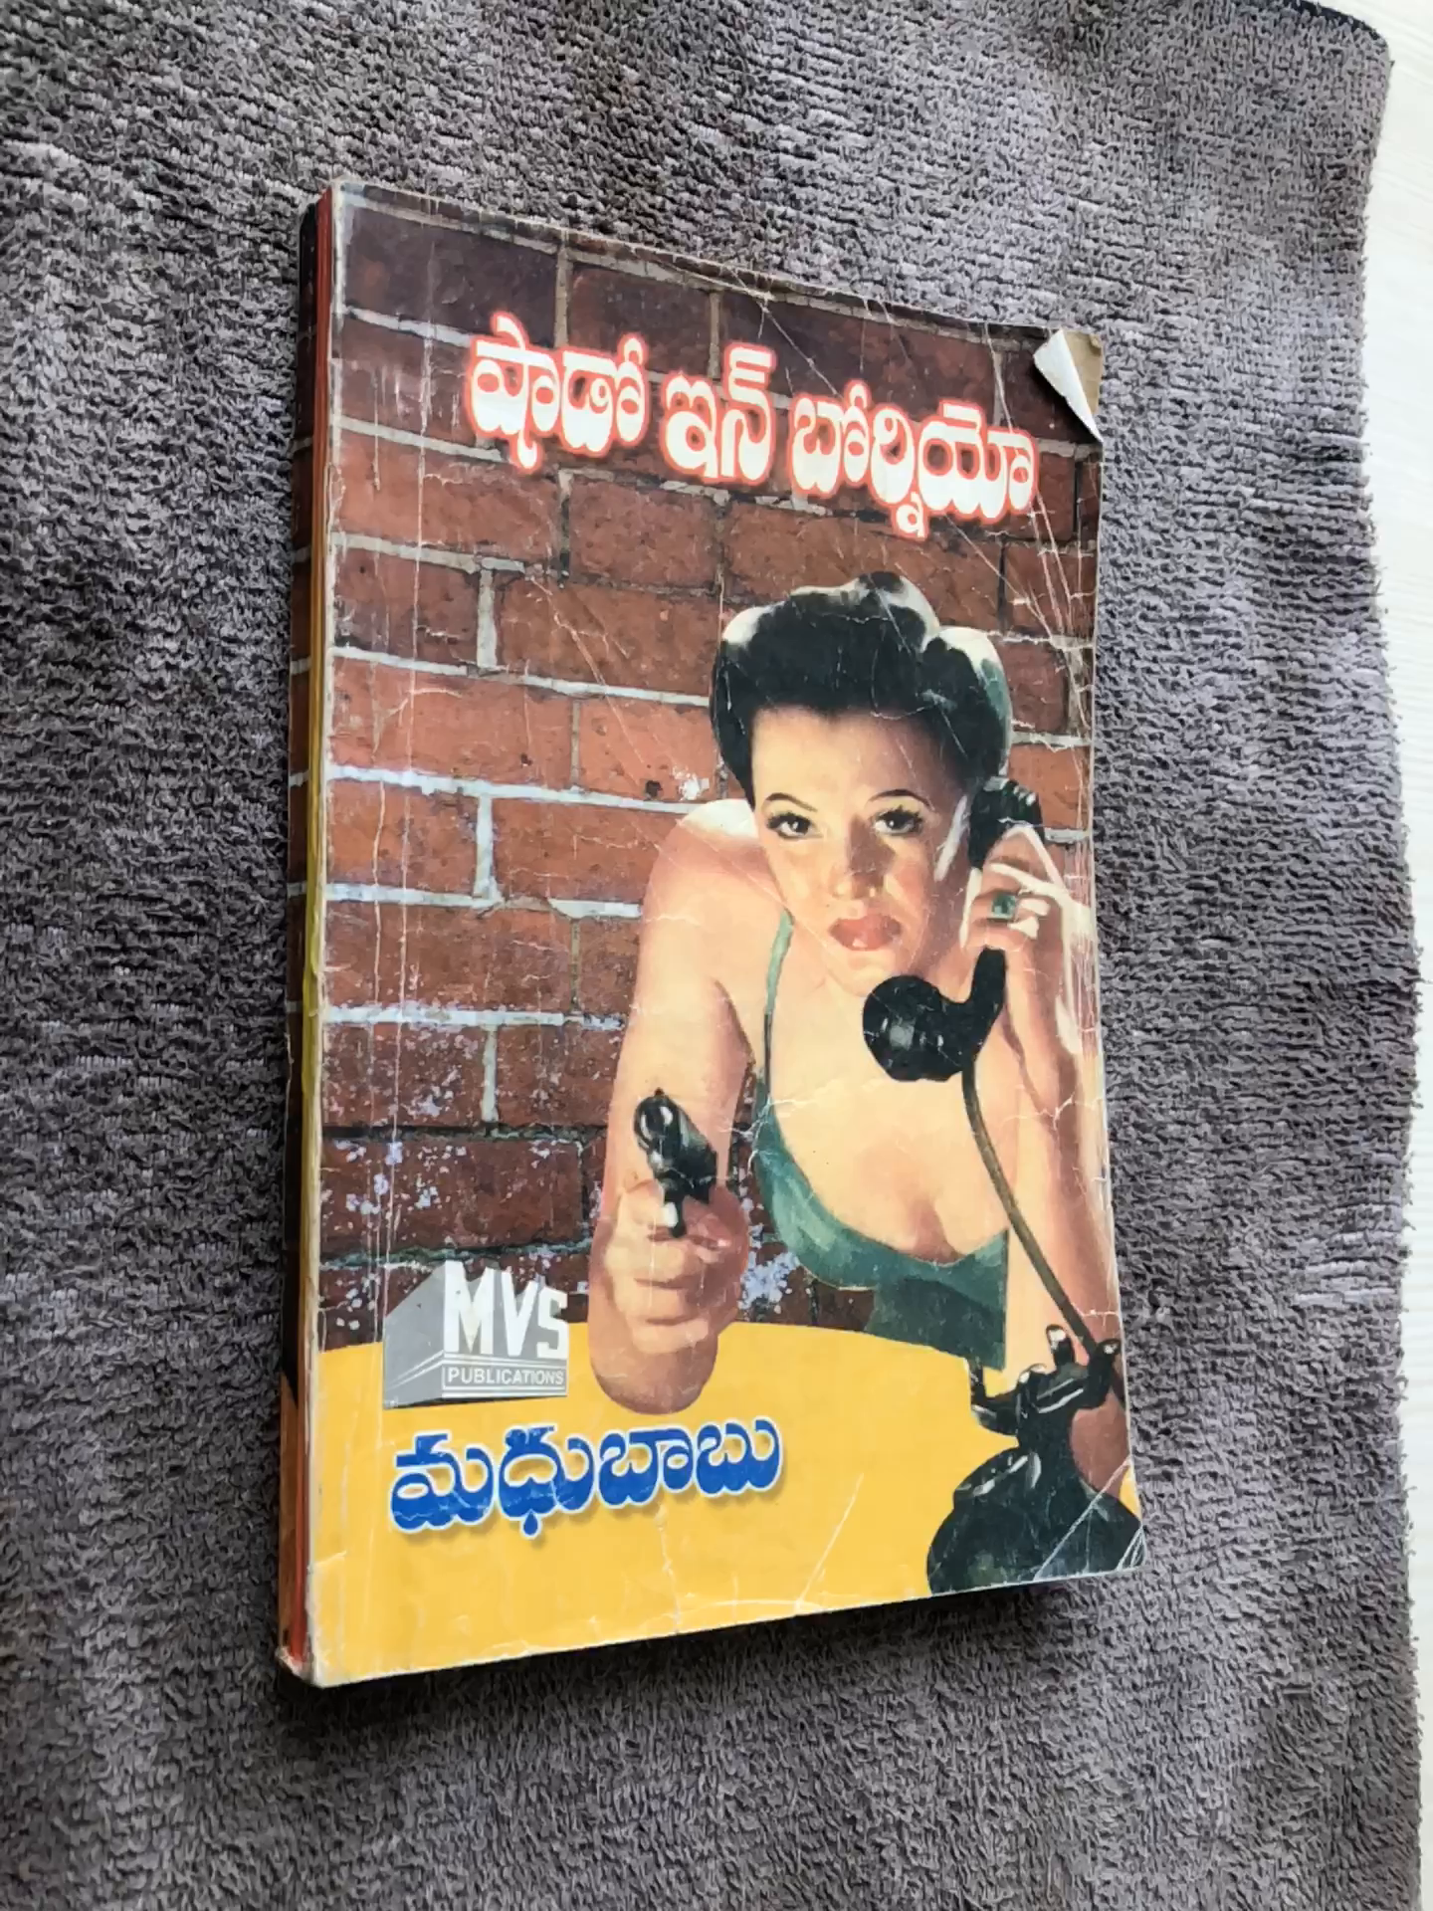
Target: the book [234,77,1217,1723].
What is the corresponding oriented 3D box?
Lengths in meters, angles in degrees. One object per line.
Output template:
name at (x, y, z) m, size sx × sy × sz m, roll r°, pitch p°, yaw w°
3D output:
book at (0.002, -0.005, 0.184) m, size 0.100 × 0.040 × 0.150 m, roll 3°, pitch 82°, yaw -26°
